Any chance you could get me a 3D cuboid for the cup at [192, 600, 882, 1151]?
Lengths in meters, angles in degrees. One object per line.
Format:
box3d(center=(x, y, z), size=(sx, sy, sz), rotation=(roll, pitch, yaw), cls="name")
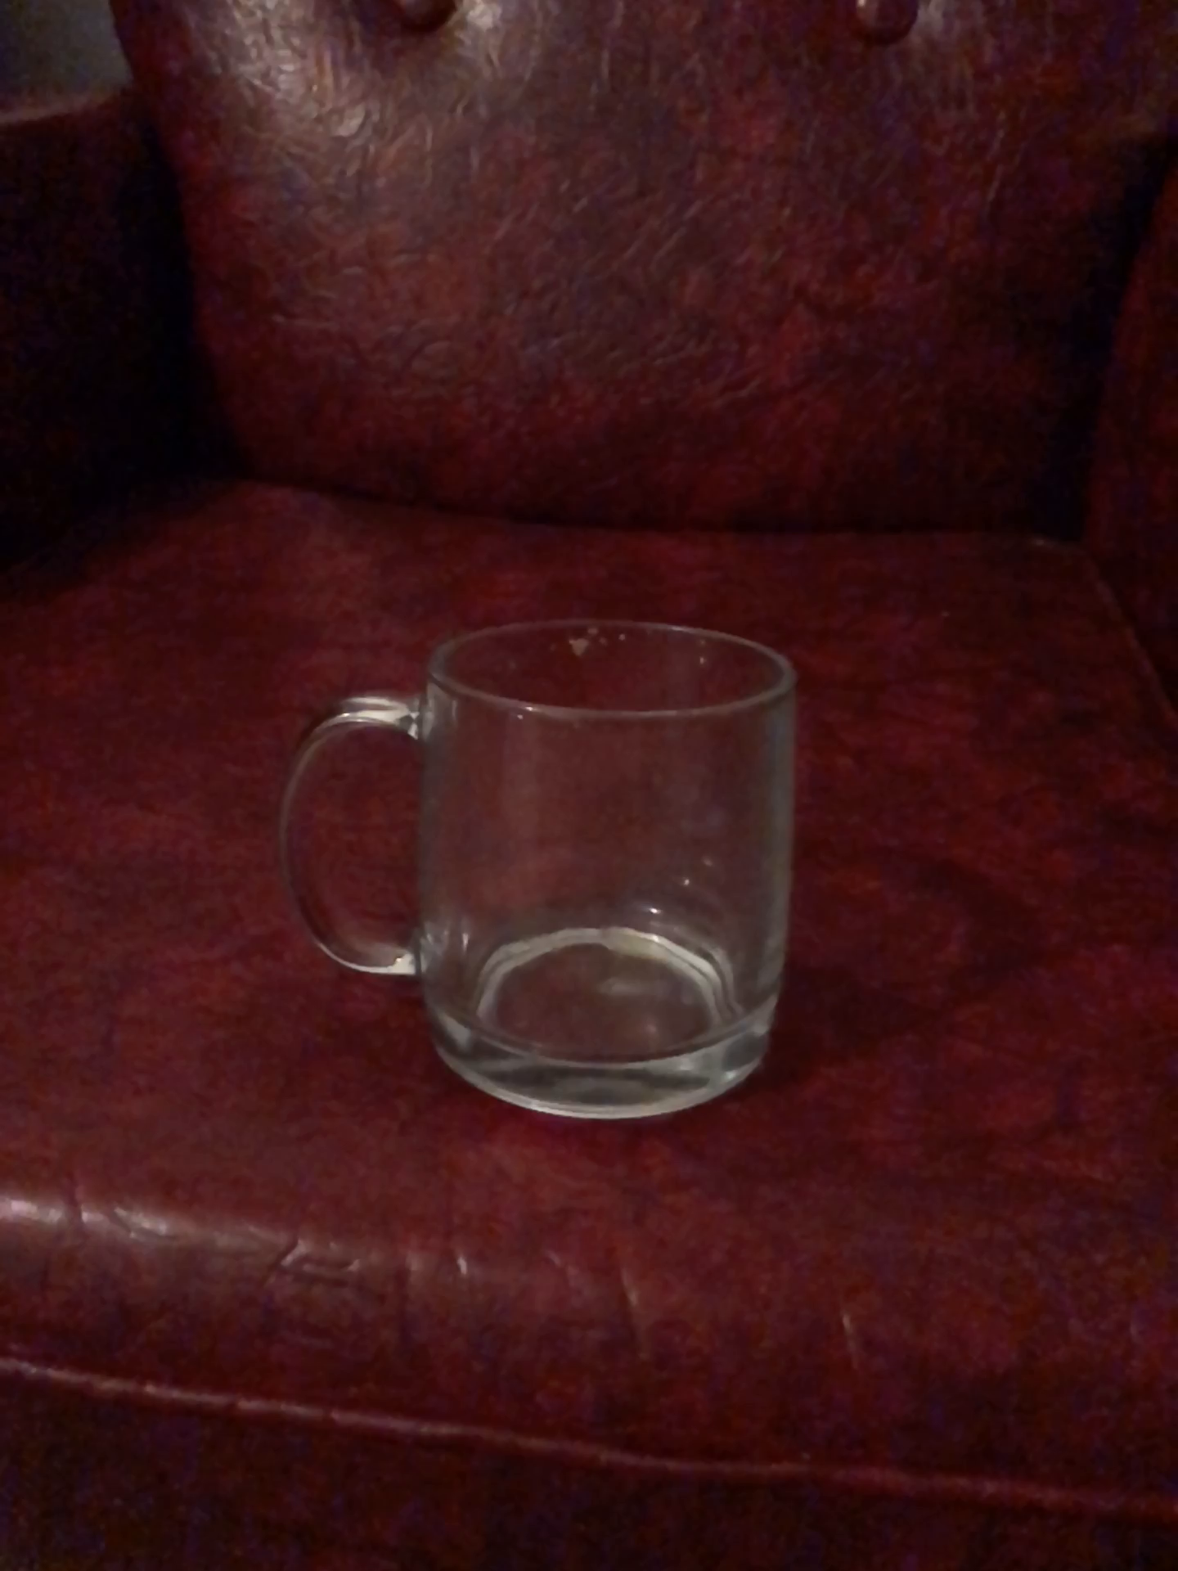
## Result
box3d(center=(-0.009, 0.014, 0.298), size=(0.128, 0.089, 0.091), rotation=(3, 20, 3), cls="cup")
